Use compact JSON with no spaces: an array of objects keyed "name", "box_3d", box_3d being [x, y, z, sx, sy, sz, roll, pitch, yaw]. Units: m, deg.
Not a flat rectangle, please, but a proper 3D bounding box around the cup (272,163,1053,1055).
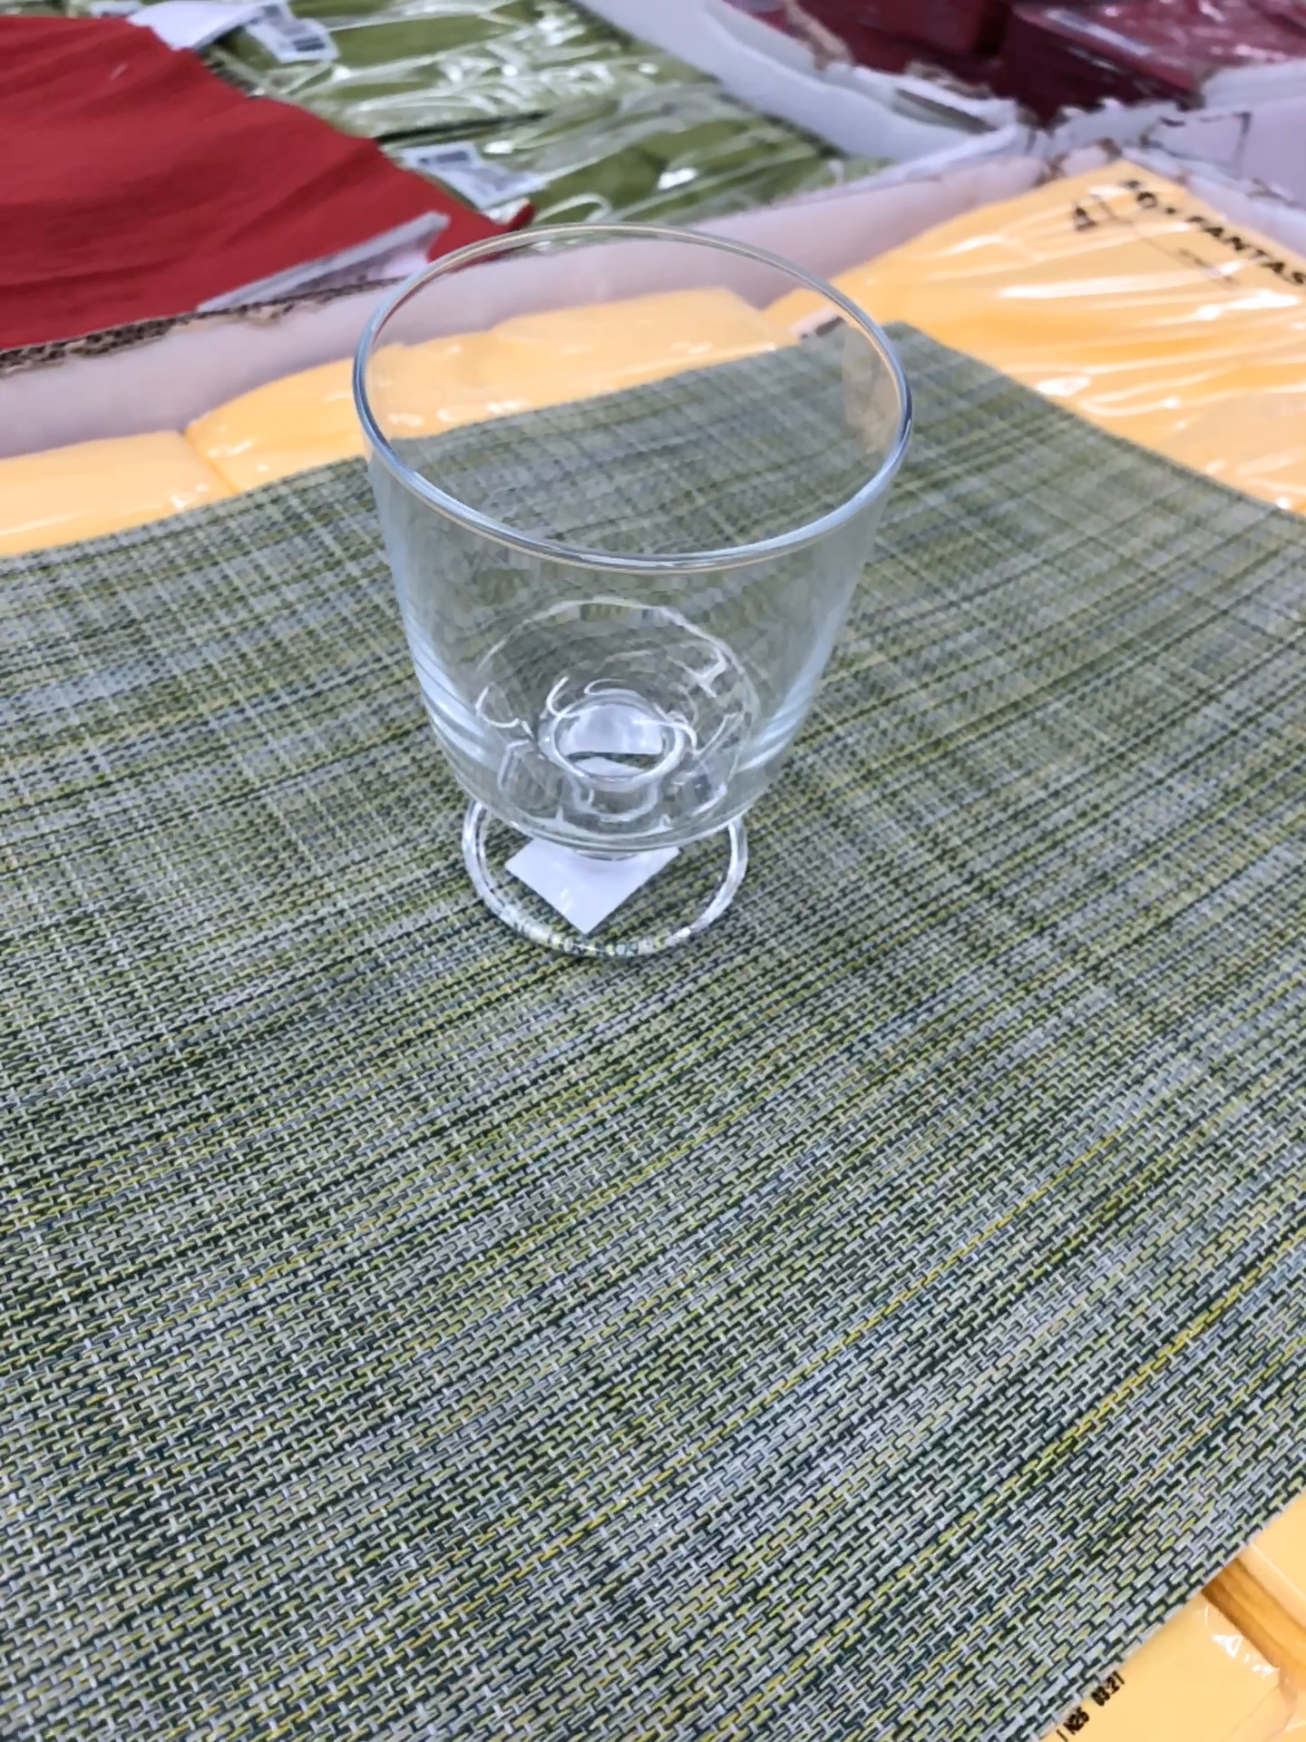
[{"name":"cup","box_3d":[-0.005,-0.044,0.264,0.090,0.110,0.090,2,55,-3]}]
